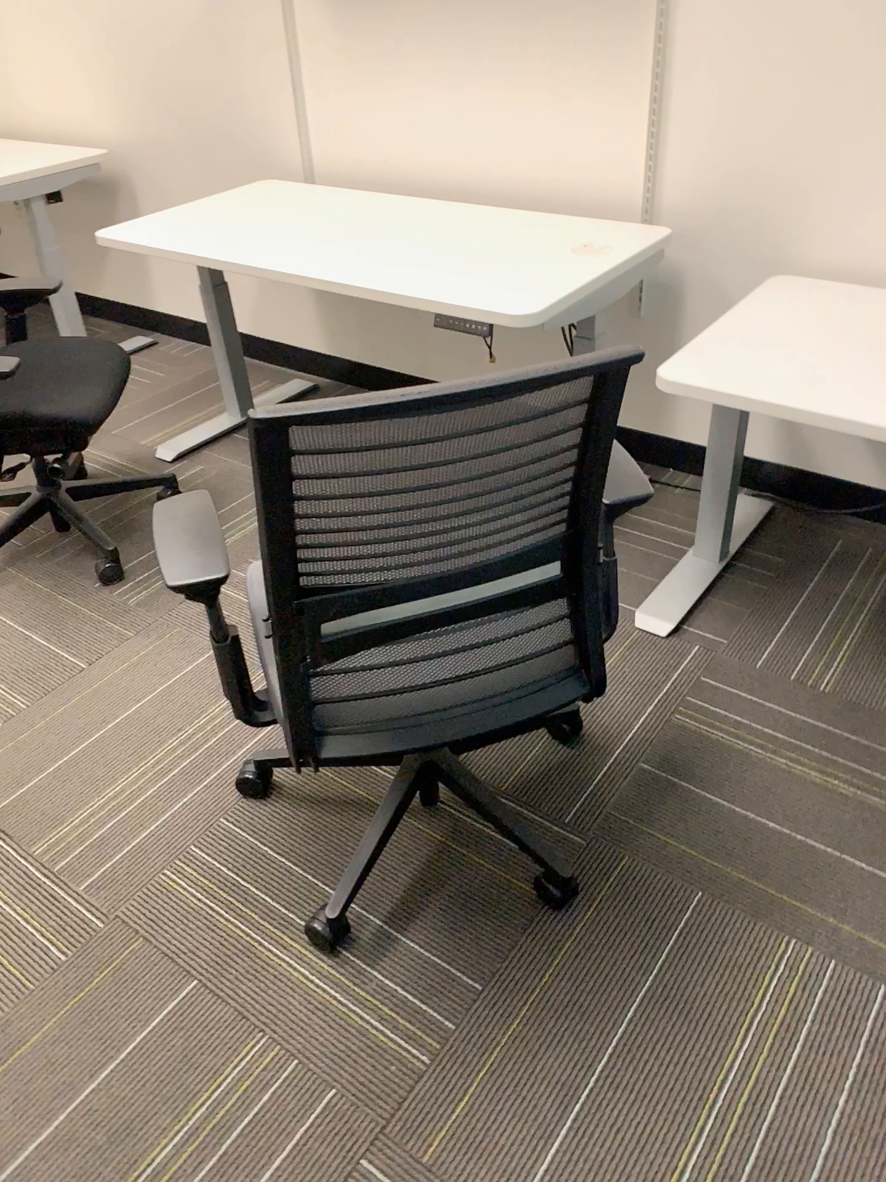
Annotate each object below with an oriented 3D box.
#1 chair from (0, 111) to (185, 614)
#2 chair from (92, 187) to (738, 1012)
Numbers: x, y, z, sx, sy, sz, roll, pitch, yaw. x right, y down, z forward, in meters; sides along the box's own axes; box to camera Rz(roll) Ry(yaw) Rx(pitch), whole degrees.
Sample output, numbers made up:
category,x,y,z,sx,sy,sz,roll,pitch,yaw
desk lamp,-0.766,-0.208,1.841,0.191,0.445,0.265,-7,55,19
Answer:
category,x,y,z,sx,sy,sz,roll,pitch,yaw
chair,-1.142,-0.606,2.346,0.700,0.993,0.735,-9,36,-8
chair,-0.070,-0.007,1.438,0.640,0.993,0.644,-15,37,-16
